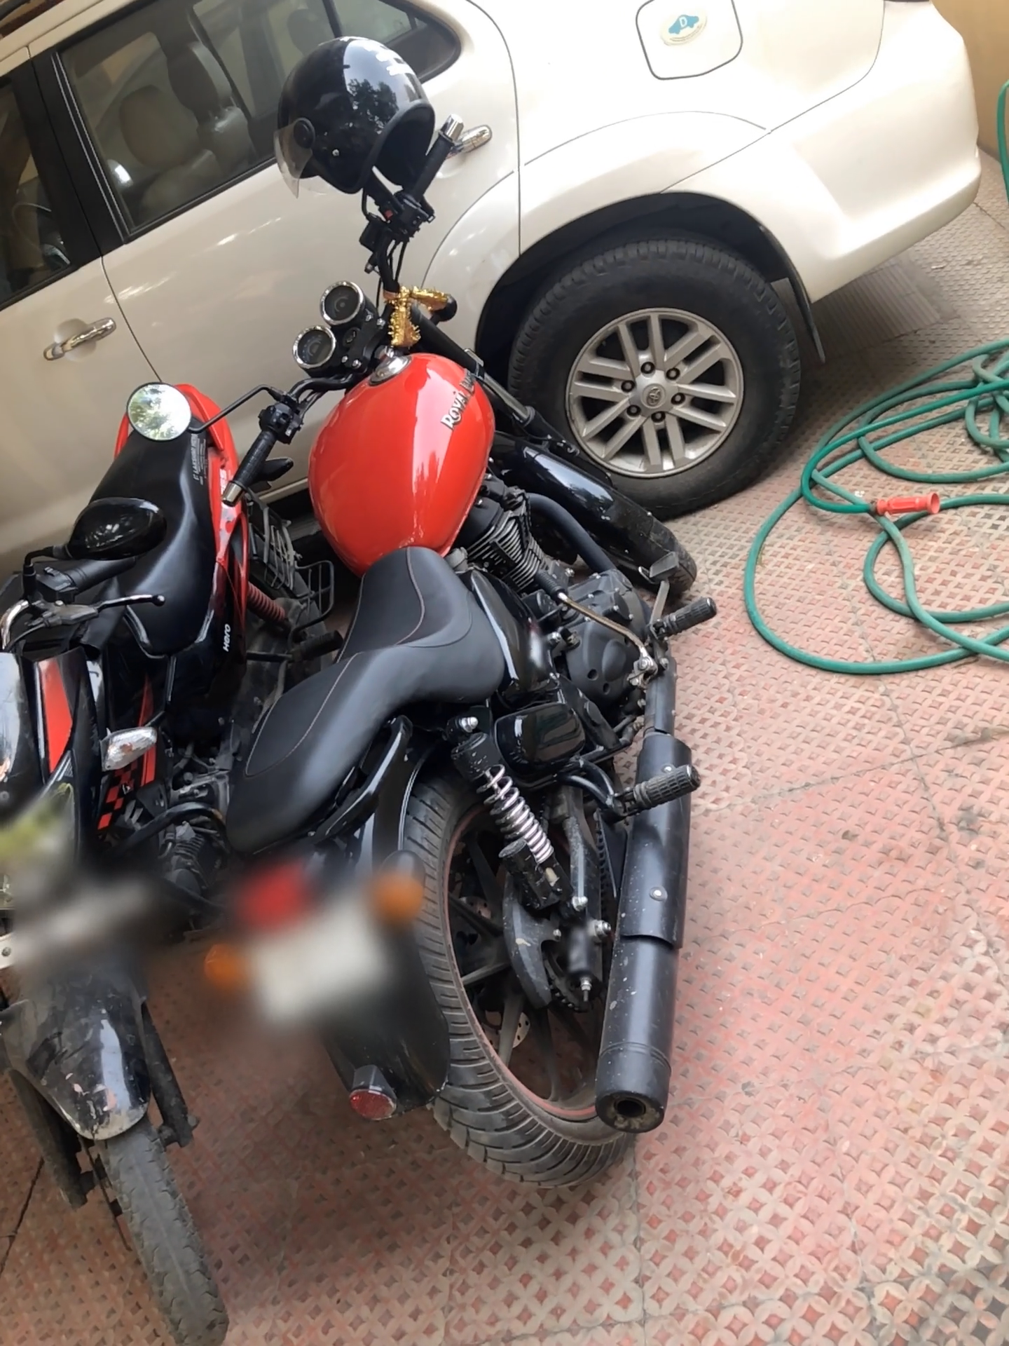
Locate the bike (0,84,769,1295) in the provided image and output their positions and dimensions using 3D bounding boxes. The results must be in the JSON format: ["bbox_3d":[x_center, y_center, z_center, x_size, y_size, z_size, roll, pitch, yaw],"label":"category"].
[{"bbox_3d":[-0.200,-0.093,1.999,0.821,1.270,1.721,-16,33,17],"label":"bike"}]
